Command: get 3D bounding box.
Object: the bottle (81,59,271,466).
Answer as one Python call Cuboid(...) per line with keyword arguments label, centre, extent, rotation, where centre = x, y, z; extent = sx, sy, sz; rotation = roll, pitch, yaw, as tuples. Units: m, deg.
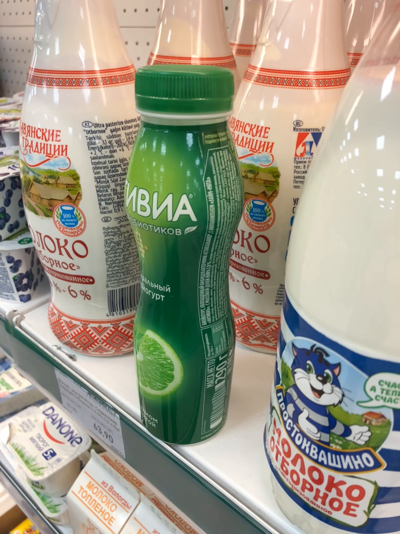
Cuboid(label="bottle", centre=(-0.011, 0.002, 0.212), extent=(0.052, 0.179, 0.053), rotation=(0, 28, 0))
